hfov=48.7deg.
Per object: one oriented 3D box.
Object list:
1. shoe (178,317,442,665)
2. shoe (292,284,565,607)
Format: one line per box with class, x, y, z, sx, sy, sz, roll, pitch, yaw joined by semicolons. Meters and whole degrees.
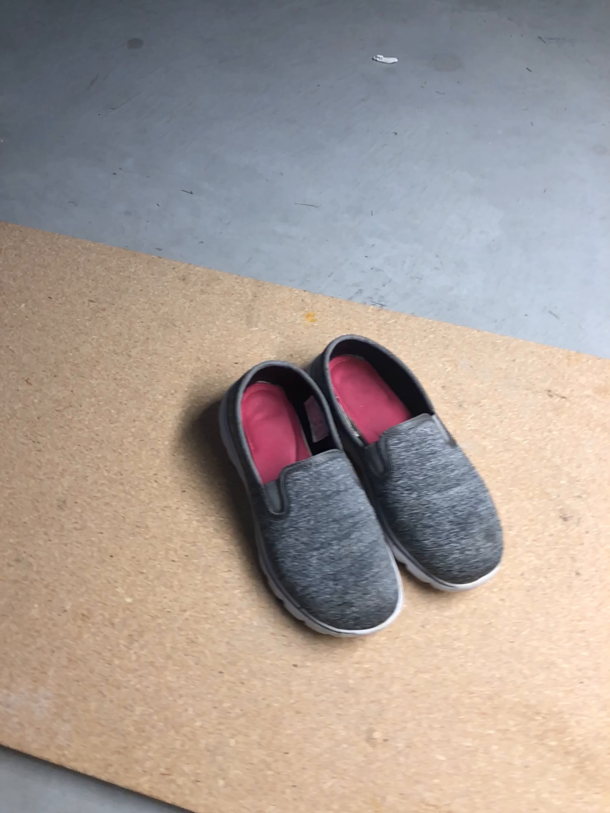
shoe;-0.007;0.054;0.529;0.100;0.070;0.250;-20;59;-15
shoe;0.086;0.021;0.561;0.100;0.073;0.250;-20;59;-15
